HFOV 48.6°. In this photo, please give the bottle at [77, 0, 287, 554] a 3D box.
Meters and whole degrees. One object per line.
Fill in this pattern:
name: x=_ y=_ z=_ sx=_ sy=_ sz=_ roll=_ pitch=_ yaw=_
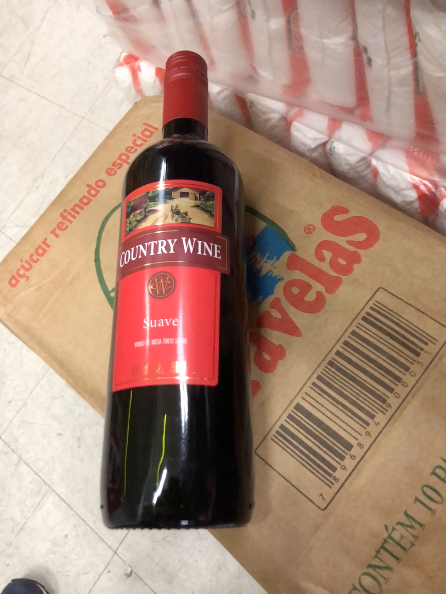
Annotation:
bottle: x=-0.022 y=-0.026 z=0.272 sx=0.080 sy=0.060 sz=0.291 roll=-8 pitch=71 yaw=16
